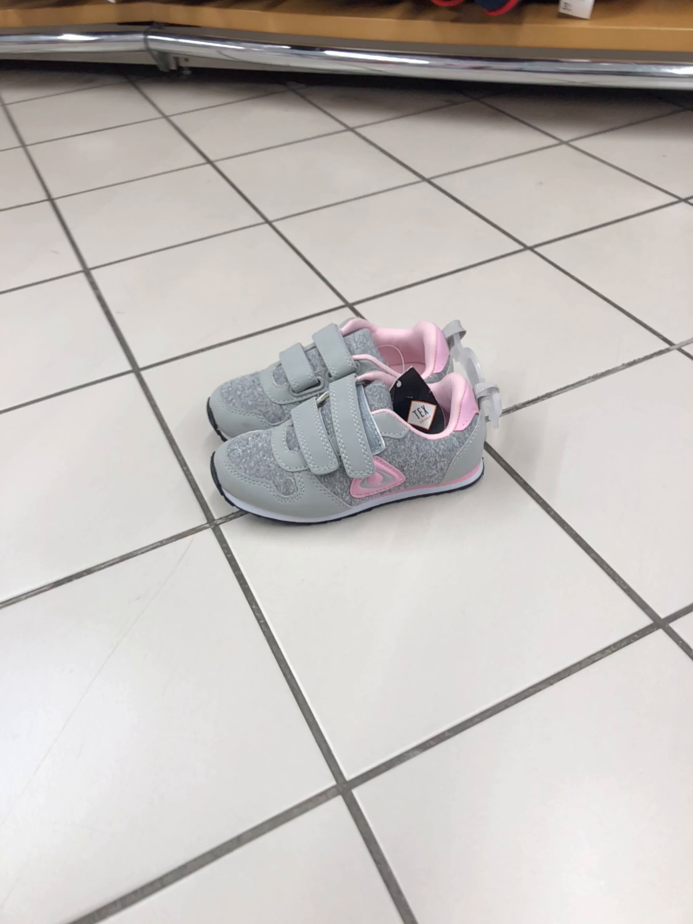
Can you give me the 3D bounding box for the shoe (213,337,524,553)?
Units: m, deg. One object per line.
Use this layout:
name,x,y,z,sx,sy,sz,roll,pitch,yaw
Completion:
shoe,0.012,-0.013,0.497,0.180,0.080,0.080,-10,42,-5

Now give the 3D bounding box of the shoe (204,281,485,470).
shoe,-0.002,-0.064,0.546,0.180,0.070,0.080,-12,43,-8
